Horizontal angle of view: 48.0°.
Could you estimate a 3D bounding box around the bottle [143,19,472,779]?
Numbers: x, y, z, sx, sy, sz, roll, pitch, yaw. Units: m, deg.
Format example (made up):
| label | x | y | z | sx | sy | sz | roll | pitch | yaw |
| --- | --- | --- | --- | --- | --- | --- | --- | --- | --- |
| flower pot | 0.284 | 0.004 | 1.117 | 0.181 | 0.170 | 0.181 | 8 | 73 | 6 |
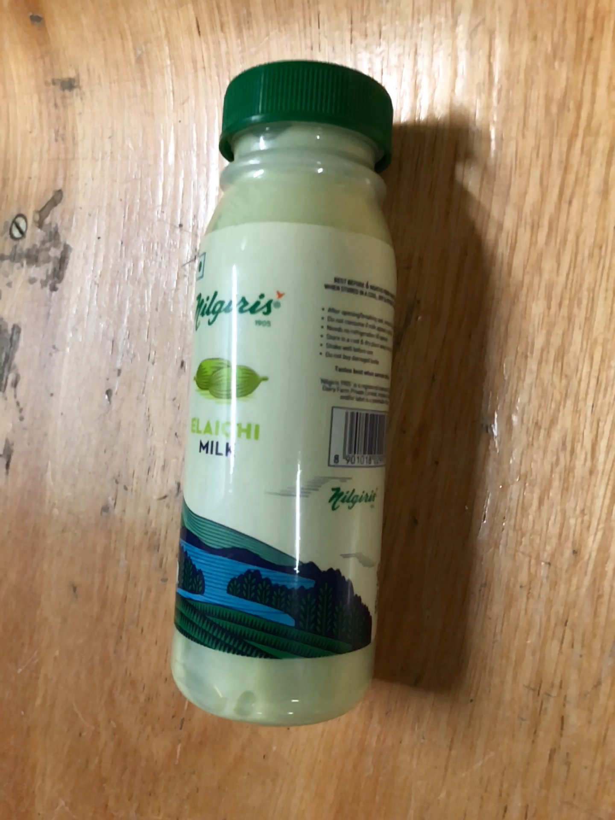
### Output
| label | x | y | z | sx | sy | sz | roll | pitch | yaw |
| --- | --- | --- | --- | --- | --- | --- | --- | --- | --- |
| bottle | 0.001 | -0.003 | 0.157 | 0.050 | 0.040 | 0.140 | 5 | 90 | 32 |
